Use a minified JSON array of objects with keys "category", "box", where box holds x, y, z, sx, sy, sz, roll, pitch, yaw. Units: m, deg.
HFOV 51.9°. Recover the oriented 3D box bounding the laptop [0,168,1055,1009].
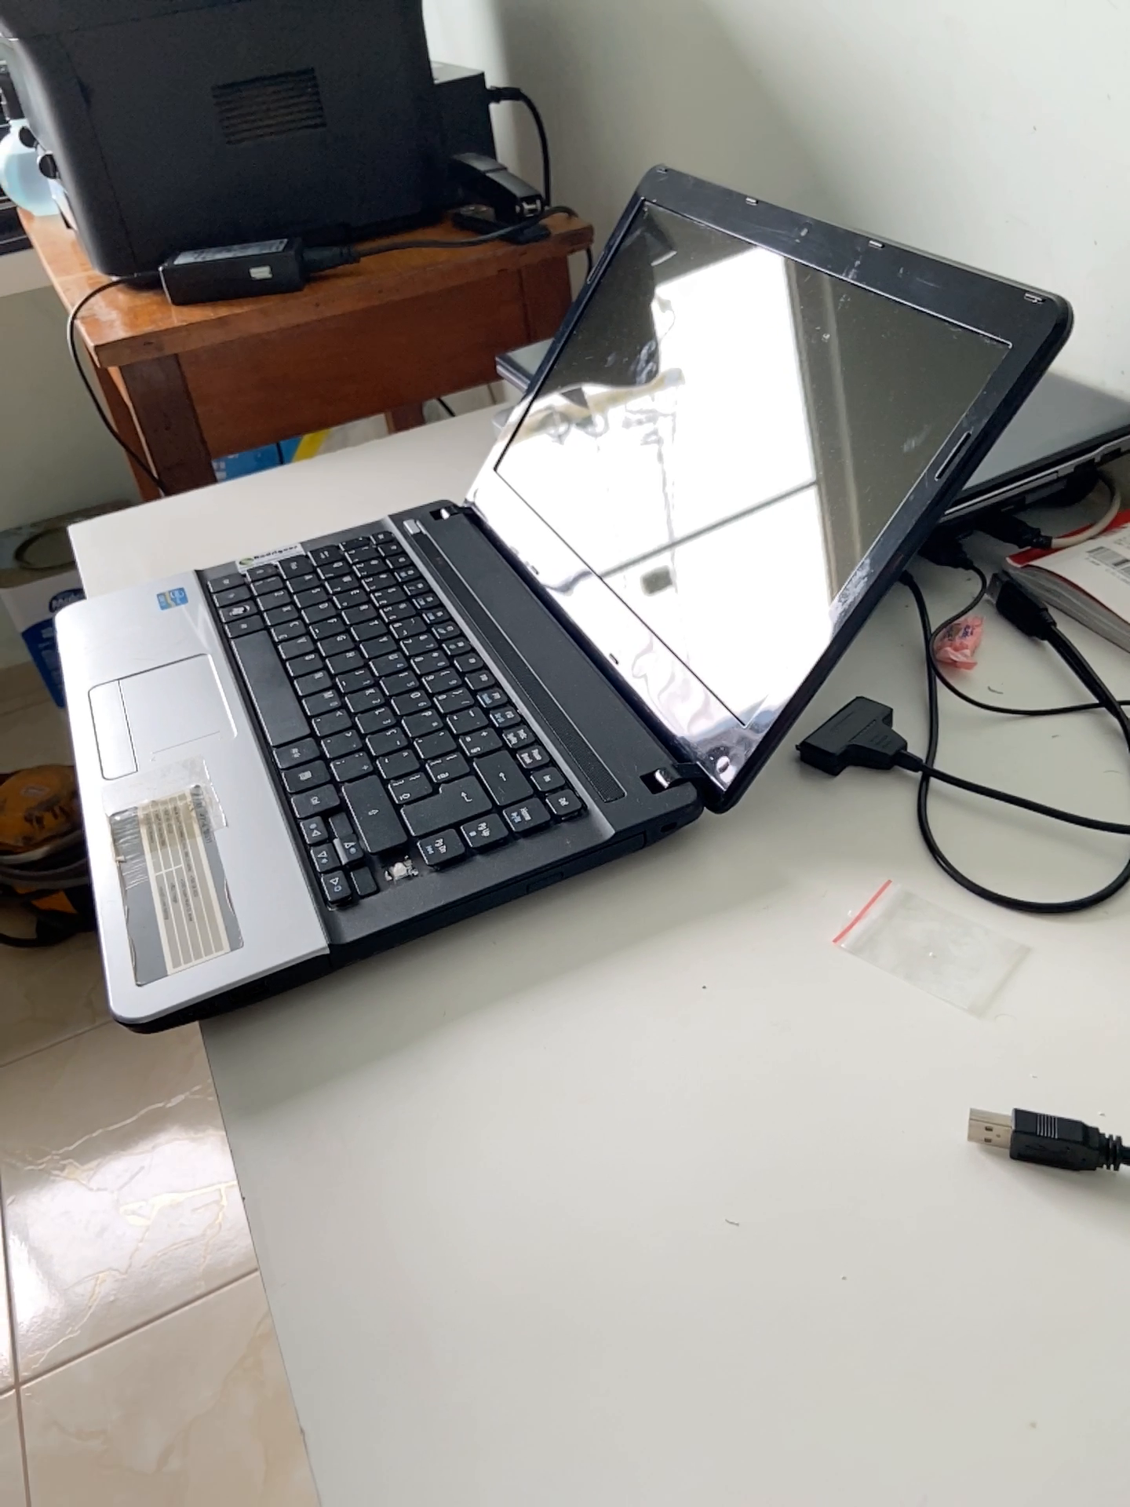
[{"category":"laptop","box":[-0.056,-0.124,0.552,0.396,0.163,0.334,-19,39,-14]}]
